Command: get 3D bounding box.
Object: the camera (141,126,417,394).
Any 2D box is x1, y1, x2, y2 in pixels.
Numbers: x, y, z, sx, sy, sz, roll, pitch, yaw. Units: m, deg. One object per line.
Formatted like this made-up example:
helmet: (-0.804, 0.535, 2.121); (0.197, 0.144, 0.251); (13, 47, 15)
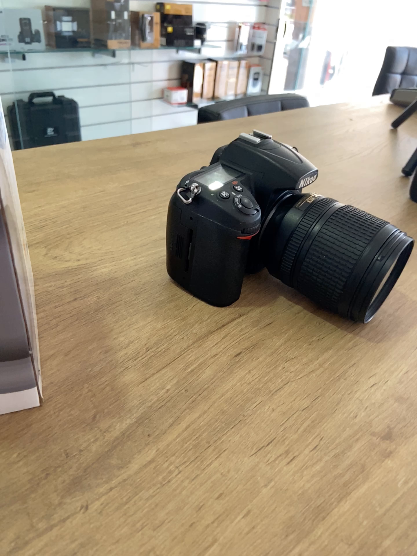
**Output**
camera: (0.058, -0.031, 0.319); (0.160, 0.099, 0.141); (26, 39, 27)
